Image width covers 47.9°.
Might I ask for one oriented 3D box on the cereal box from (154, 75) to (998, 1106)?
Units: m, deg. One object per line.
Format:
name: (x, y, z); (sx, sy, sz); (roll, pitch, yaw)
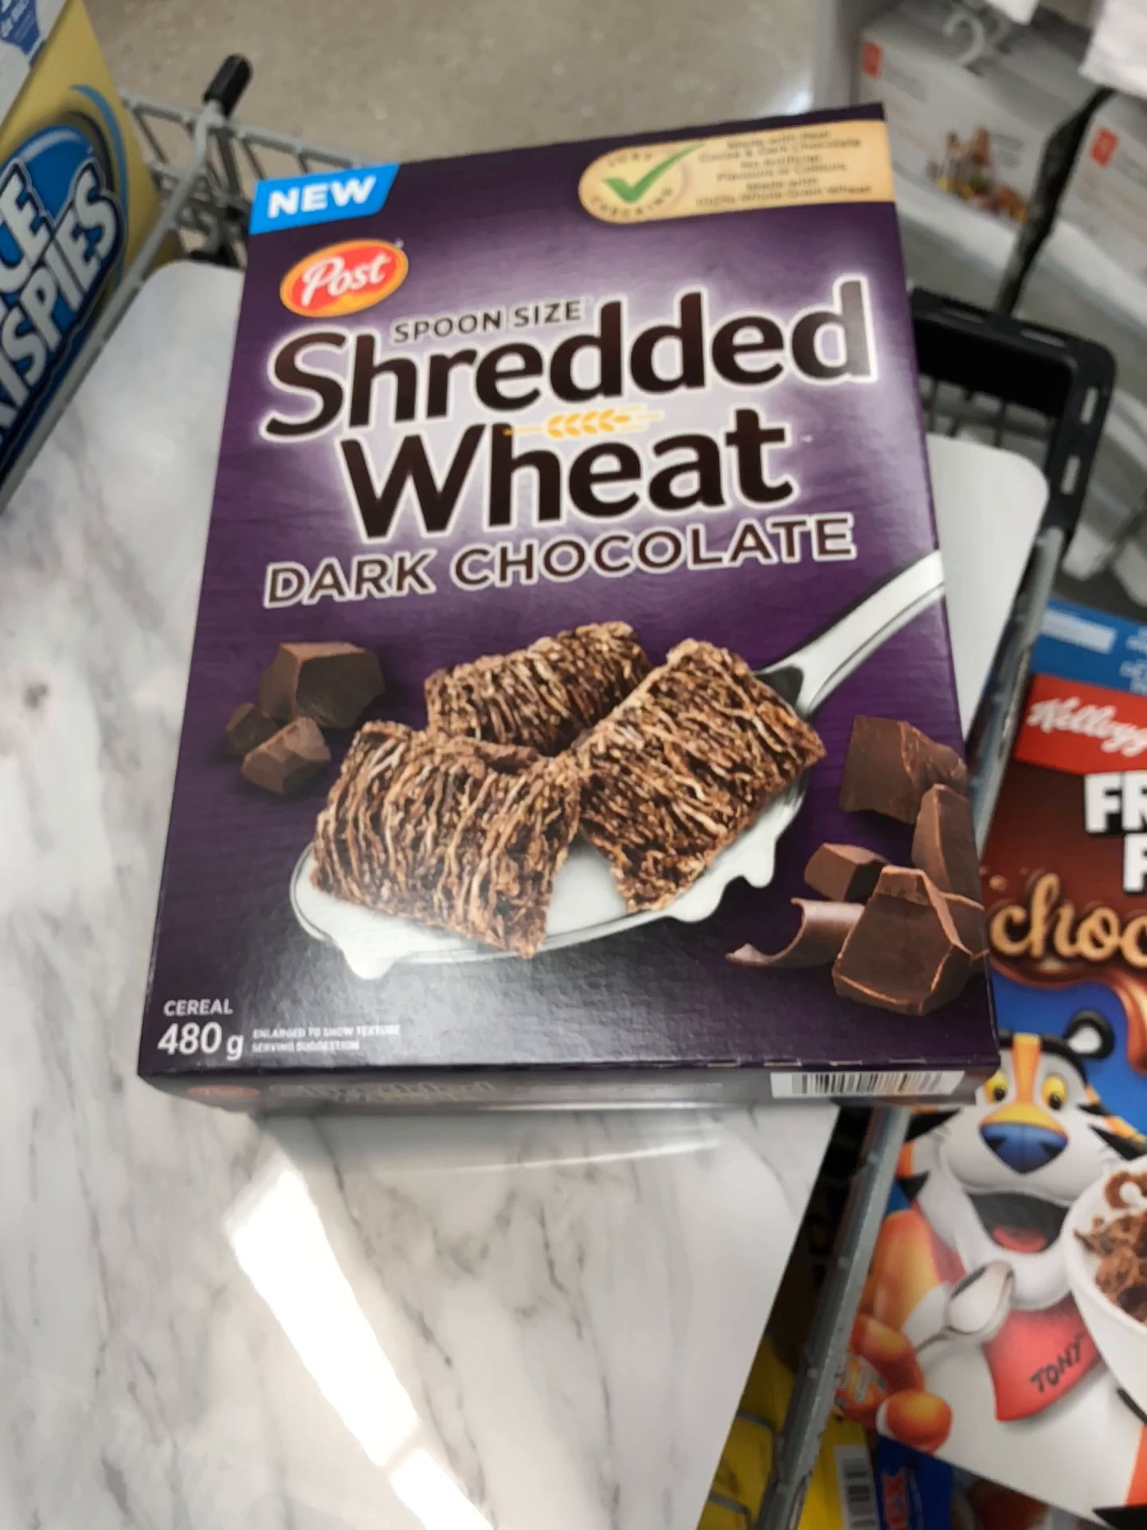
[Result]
cereal box: (0.002, -0.055, 0.374); (0.190, 0.070, 0.290); (-2, 68, 6)
